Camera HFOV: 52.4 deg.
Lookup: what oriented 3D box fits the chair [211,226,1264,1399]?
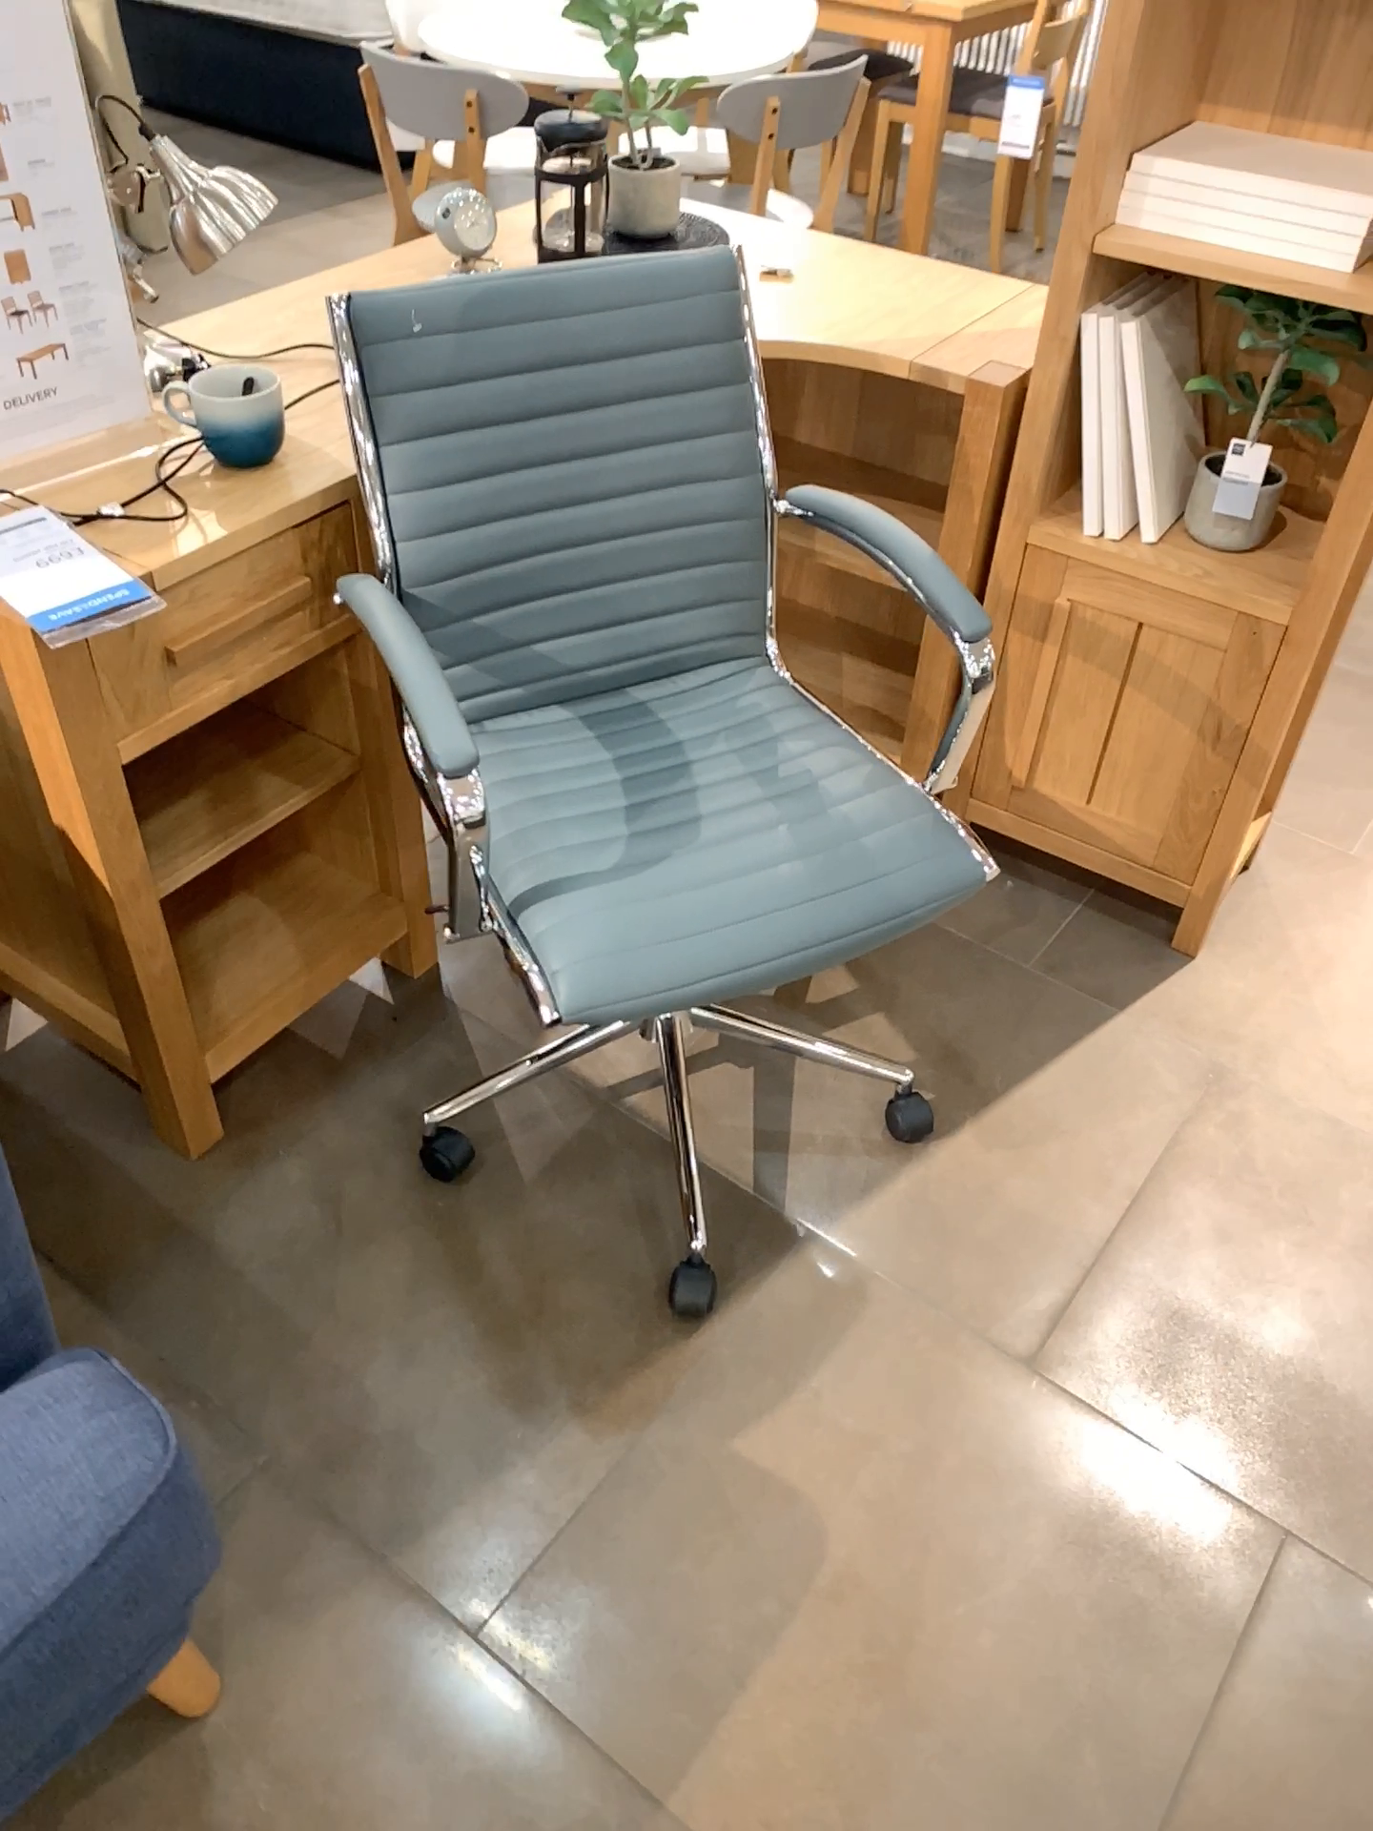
[{"bbox_3d":[-0.016,-0.140,1.508,0.665,0.883,0.713,-17,45,-21],"label":"chair"}]
